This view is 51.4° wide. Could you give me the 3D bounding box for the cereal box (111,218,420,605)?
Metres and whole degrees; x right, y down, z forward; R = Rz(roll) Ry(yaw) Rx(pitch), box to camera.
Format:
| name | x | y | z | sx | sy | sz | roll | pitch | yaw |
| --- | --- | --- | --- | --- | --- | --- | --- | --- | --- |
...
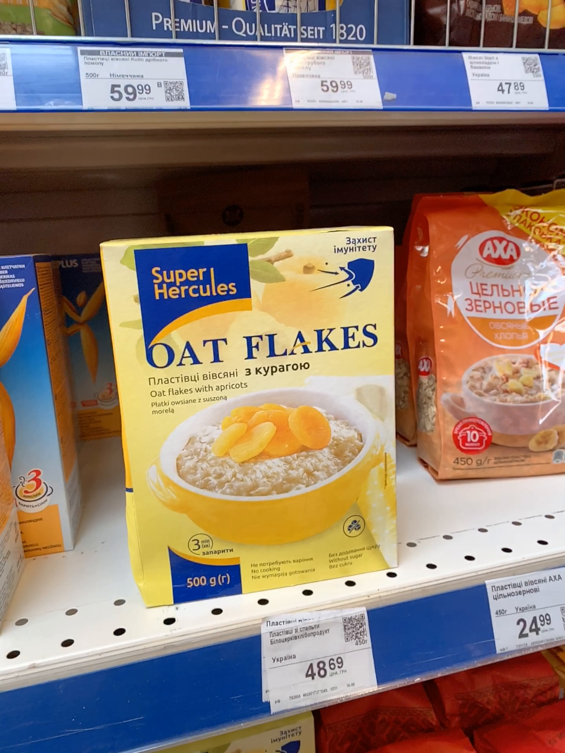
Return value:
| name | x | y | z | sx | sy | sz | roll | pitch | yaw |
| --- | --- | --- | --- | --- | --- | --- | --- | --- | --- |
| cereal box | -0.006 | 0.013 | 0.330 | 0.150 | 0.189 | 0.060 | -6 | 13 | -11 |
